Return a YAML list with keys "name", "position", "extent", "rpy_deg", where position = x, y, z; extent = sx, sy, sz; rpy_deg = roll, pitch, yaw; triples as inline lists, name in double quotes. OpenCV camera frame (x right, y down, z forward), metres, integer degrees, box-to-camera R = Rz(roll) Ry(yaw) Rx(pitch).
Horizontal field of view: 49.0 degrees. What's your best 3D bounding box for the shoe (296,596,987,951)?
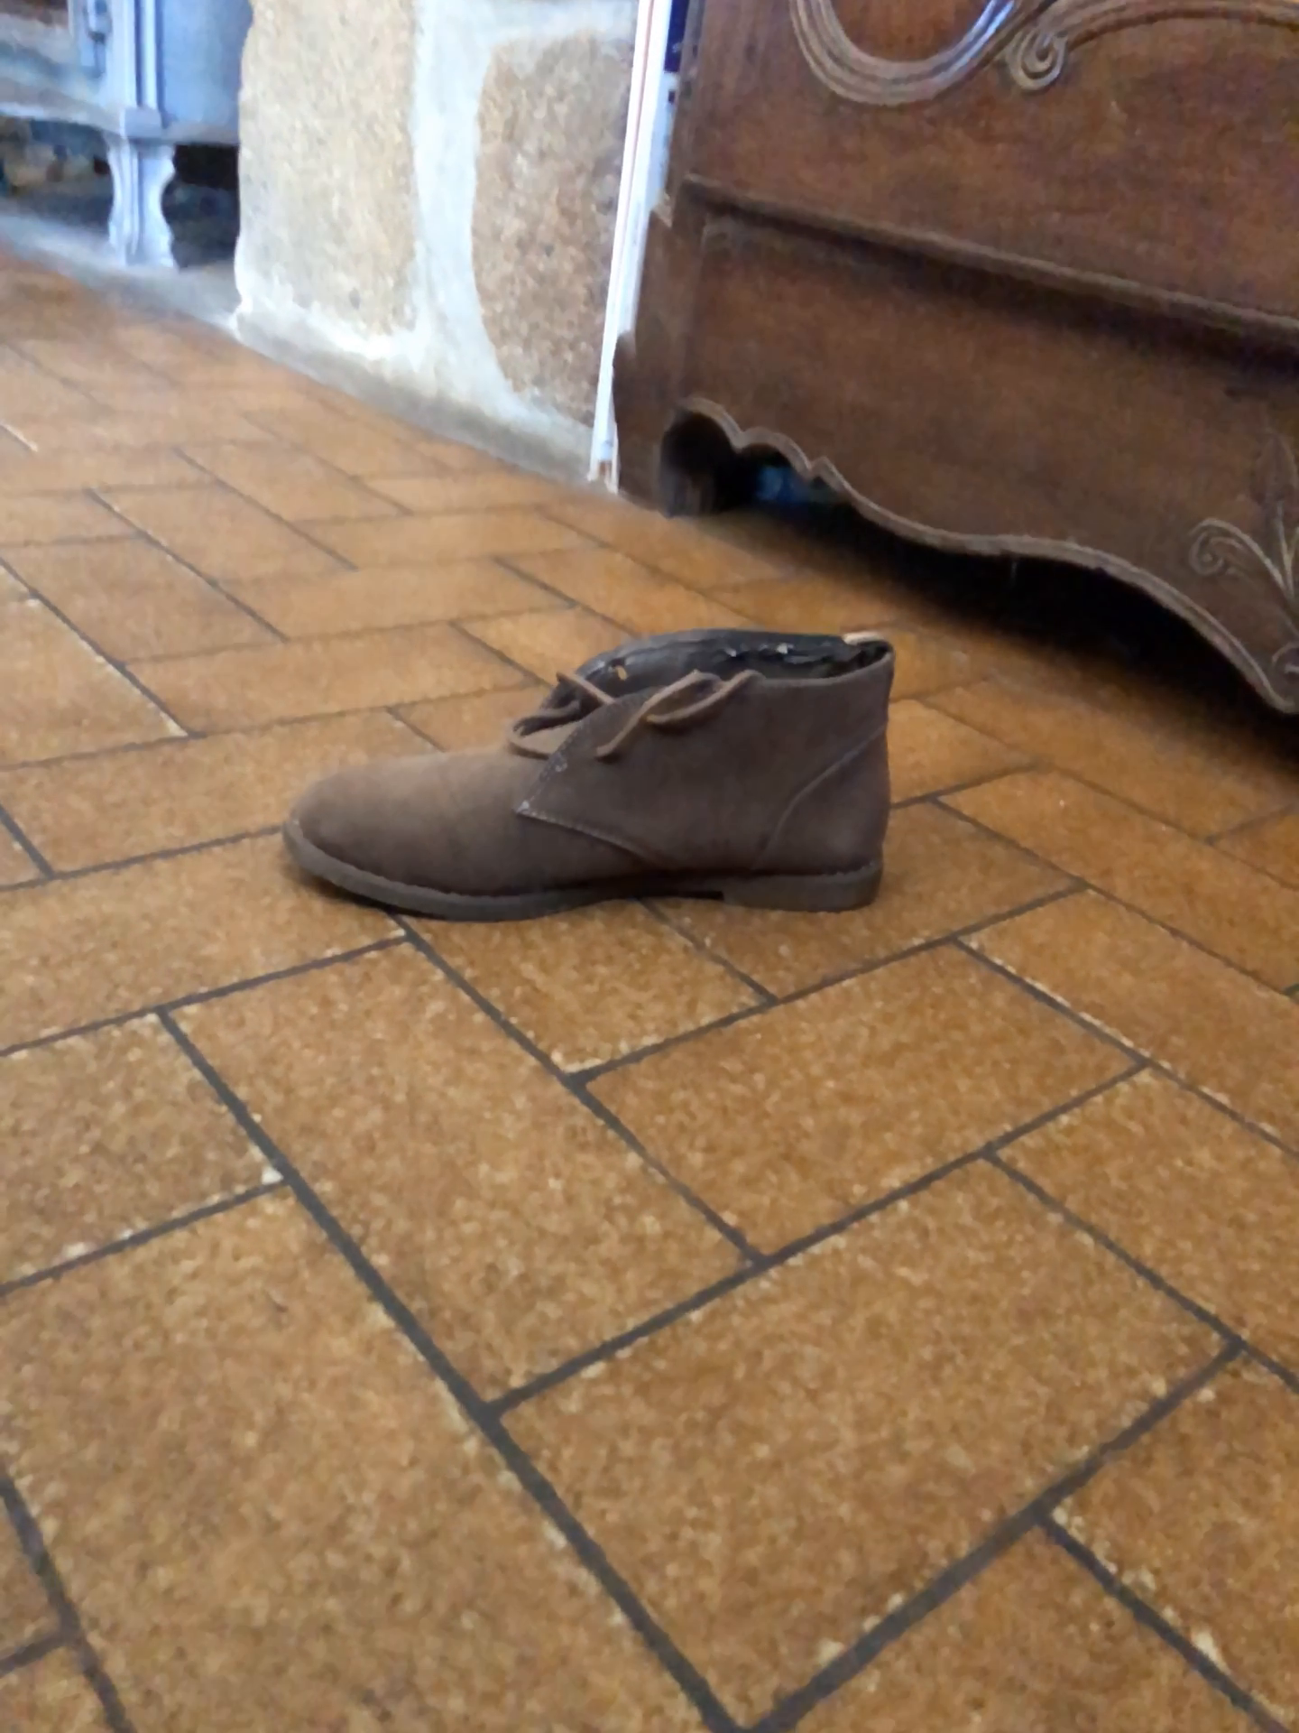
- name: "shoe"
  position: [-0.011, -0.036, 0.570]
  extent: [0.250, 0.099, 0.100]
  rpy_deg: [1, 29, -14]
